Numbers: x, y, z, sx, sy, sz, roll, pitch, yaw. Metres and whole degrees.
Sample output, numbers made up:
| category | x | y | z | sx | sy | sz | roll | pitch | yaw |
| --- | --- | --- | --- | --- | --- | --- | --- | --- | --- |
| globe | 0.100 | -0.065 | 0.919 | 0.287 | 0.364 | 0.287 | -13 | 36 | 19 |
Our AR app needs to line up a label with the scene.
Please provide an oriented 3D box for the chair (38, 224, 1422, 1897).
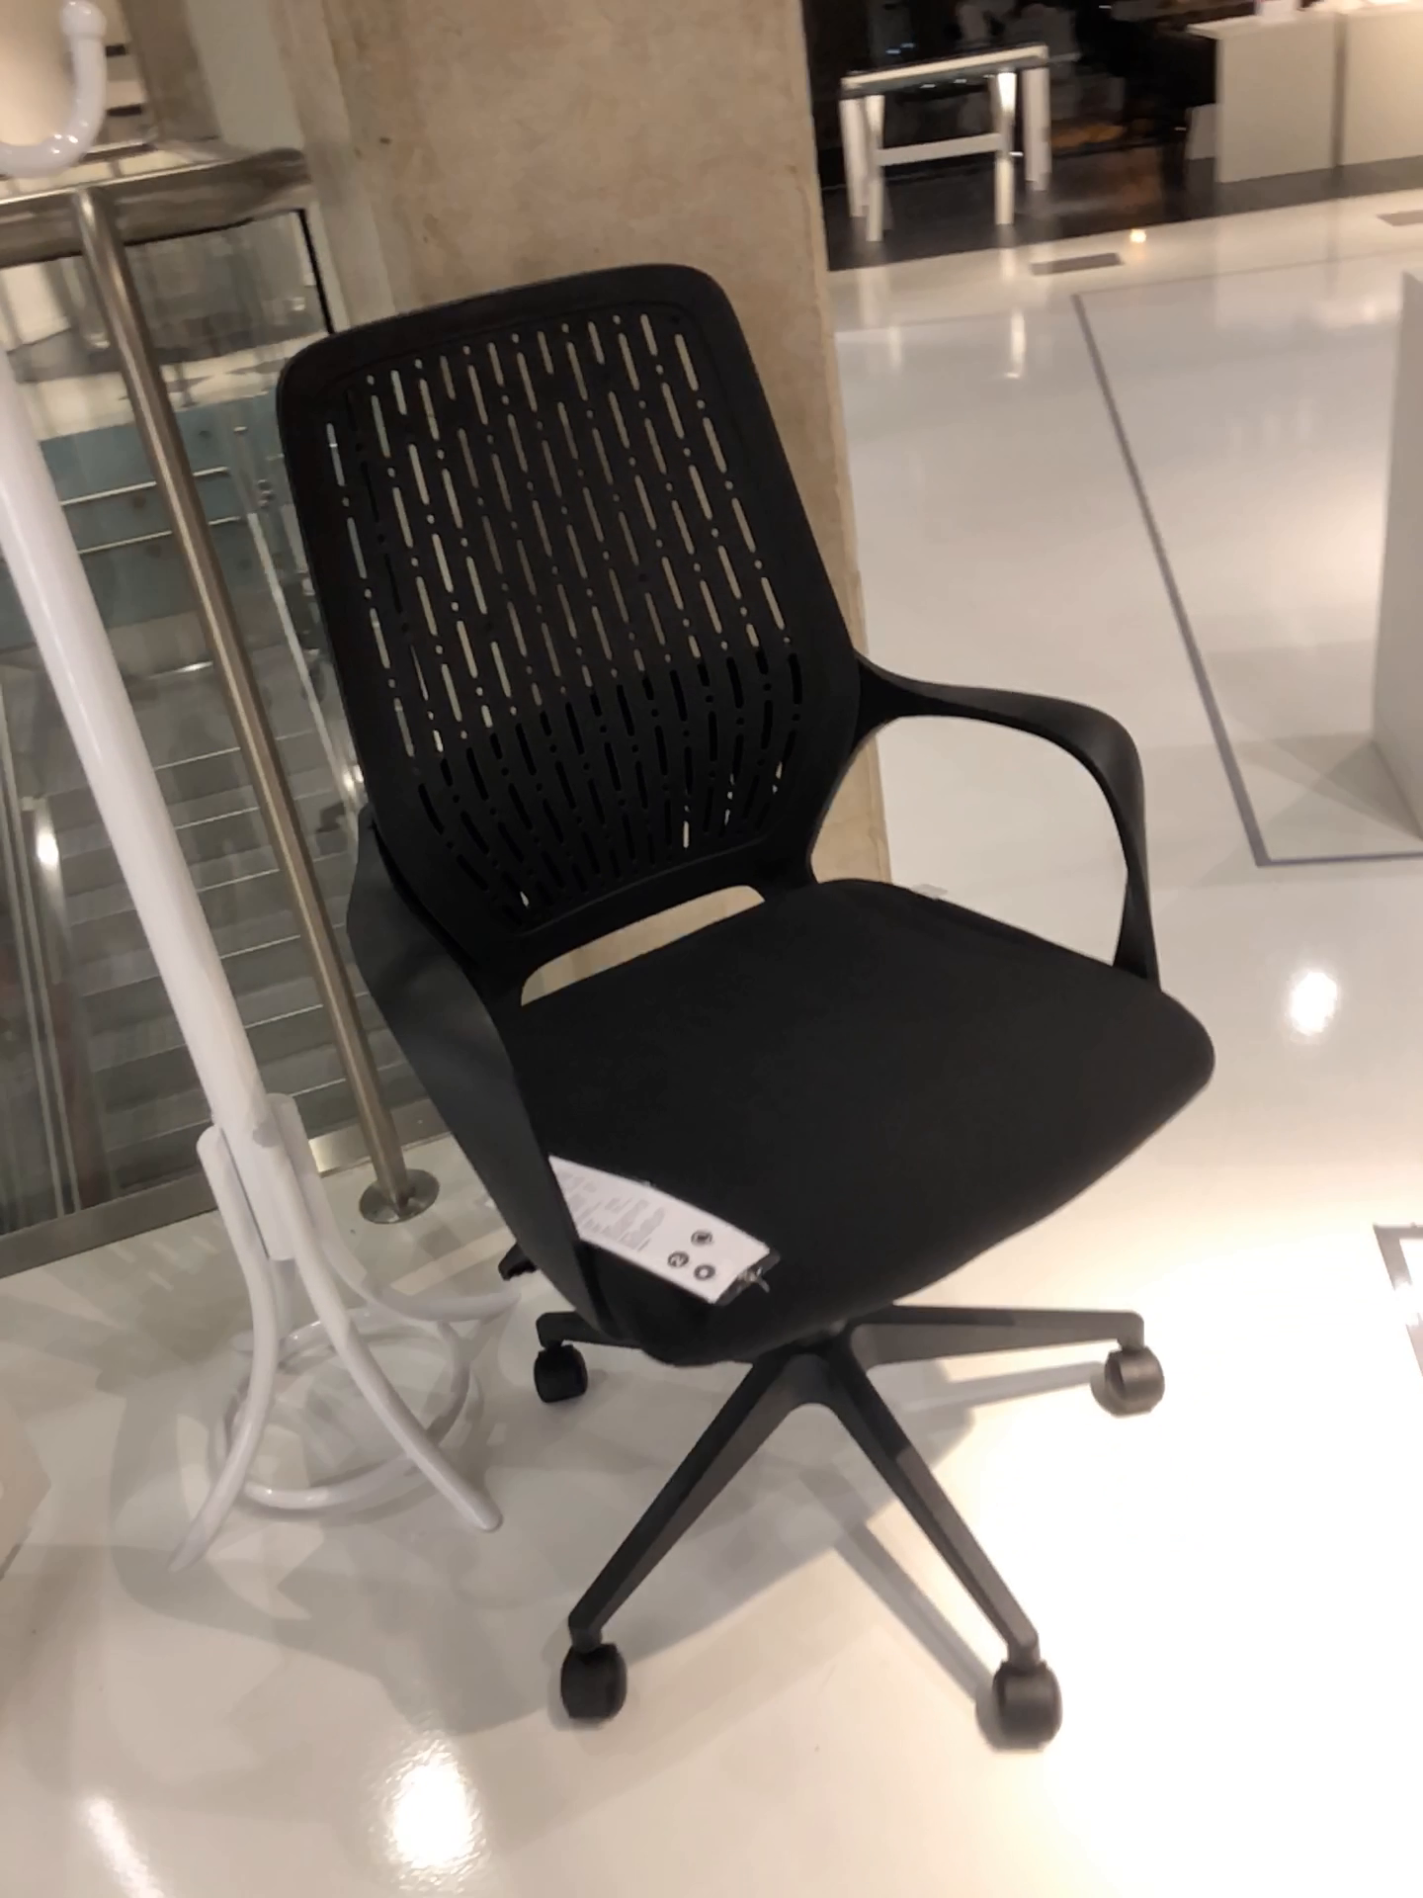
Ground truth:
| category | x | y | z | sx | sy | sz | roll | pitch | yaw |
| --- | --- | --- | --- | --- | --- | --- | --- | --- | --- |
| chair | 0.026 | 0.053 | 1.224 | 0.641 | 1.022 | 0.704 | -22 | 32 | -20 |
